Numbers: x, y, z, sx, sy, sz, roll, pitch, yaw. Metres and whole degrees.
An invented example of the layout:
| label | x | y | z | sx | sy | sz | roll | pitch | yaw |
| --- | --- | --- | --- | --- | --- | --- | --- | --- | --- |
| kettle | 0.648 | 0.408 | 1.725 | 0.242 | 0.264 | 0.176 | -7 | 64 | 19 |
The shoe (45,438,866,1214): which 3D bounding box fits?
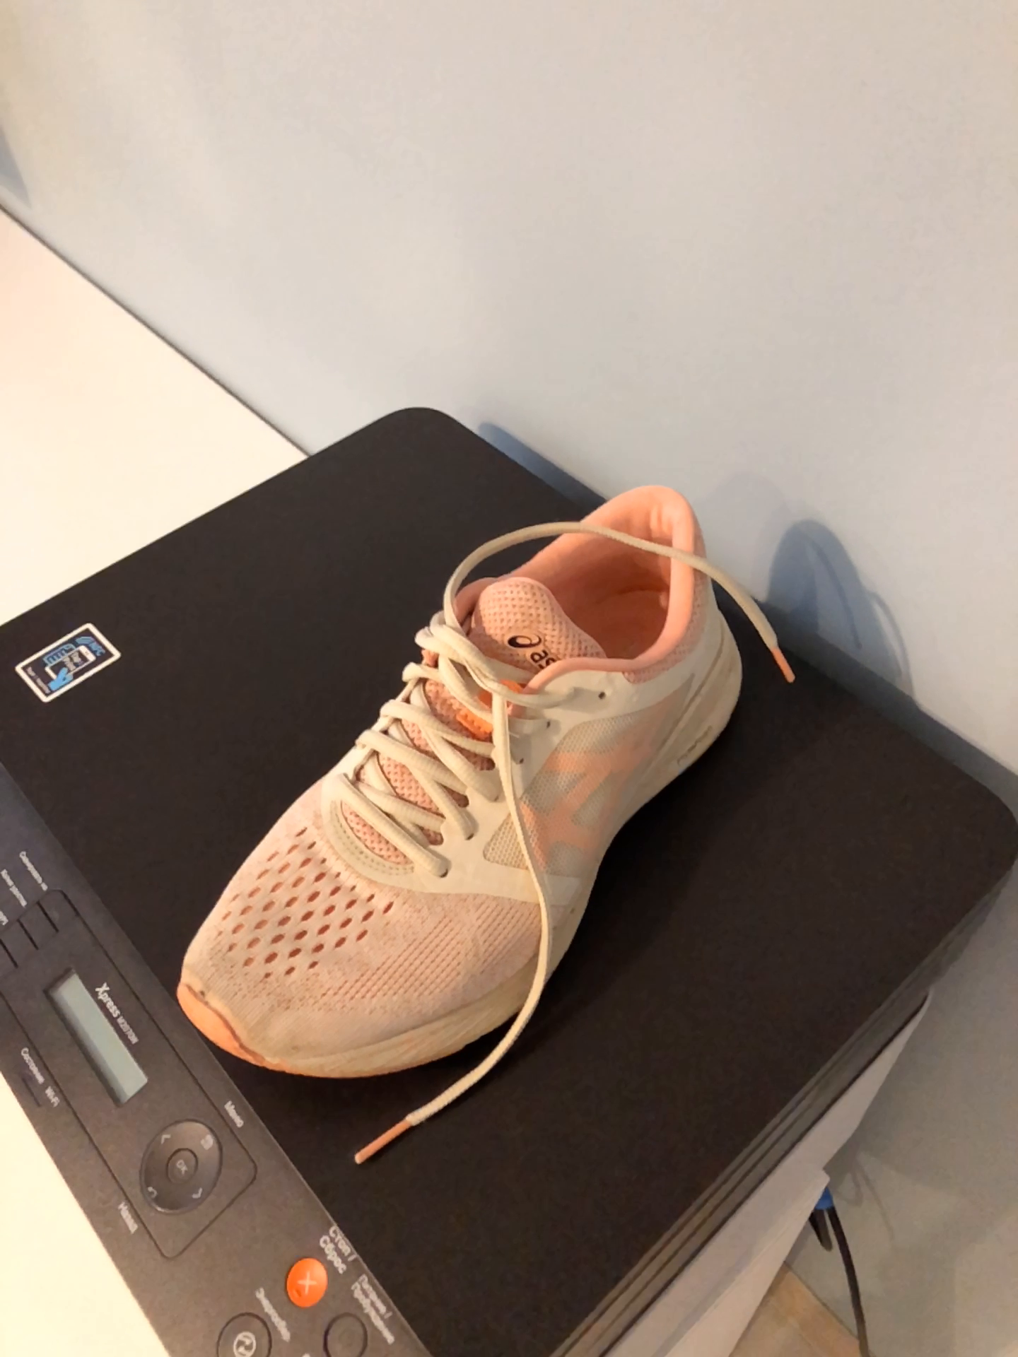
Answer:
| label | x | y | z | sx | sy | sz | roll | pitch | yaw |
| --- | --- | --- | --- | --- | --- | --- | --- | --- | --- |
| shoe | -0.006 | 0.036 | 0.394 | 0.254 | 0.089 | 0.116 | -38 | 58 | -25 |
